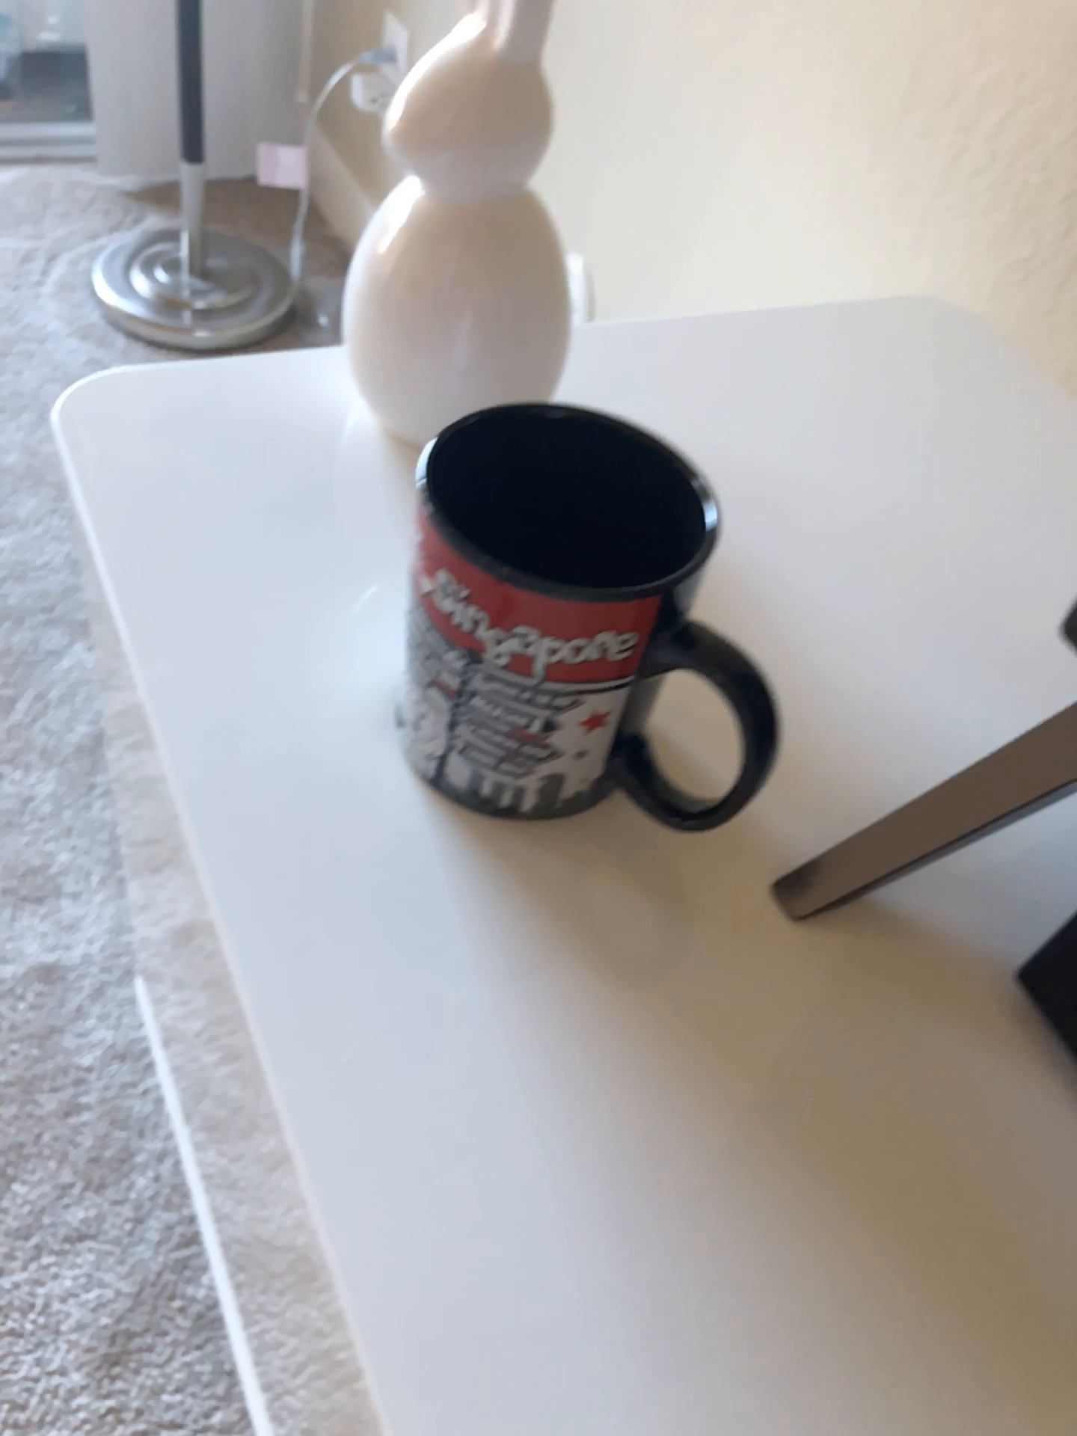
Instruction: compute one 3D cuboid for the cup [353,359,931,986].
[{"bbox_3d":[0.021,-0.015,0.347,0.120,0.110,0.080,40,51,22],"label":"cup"}]
